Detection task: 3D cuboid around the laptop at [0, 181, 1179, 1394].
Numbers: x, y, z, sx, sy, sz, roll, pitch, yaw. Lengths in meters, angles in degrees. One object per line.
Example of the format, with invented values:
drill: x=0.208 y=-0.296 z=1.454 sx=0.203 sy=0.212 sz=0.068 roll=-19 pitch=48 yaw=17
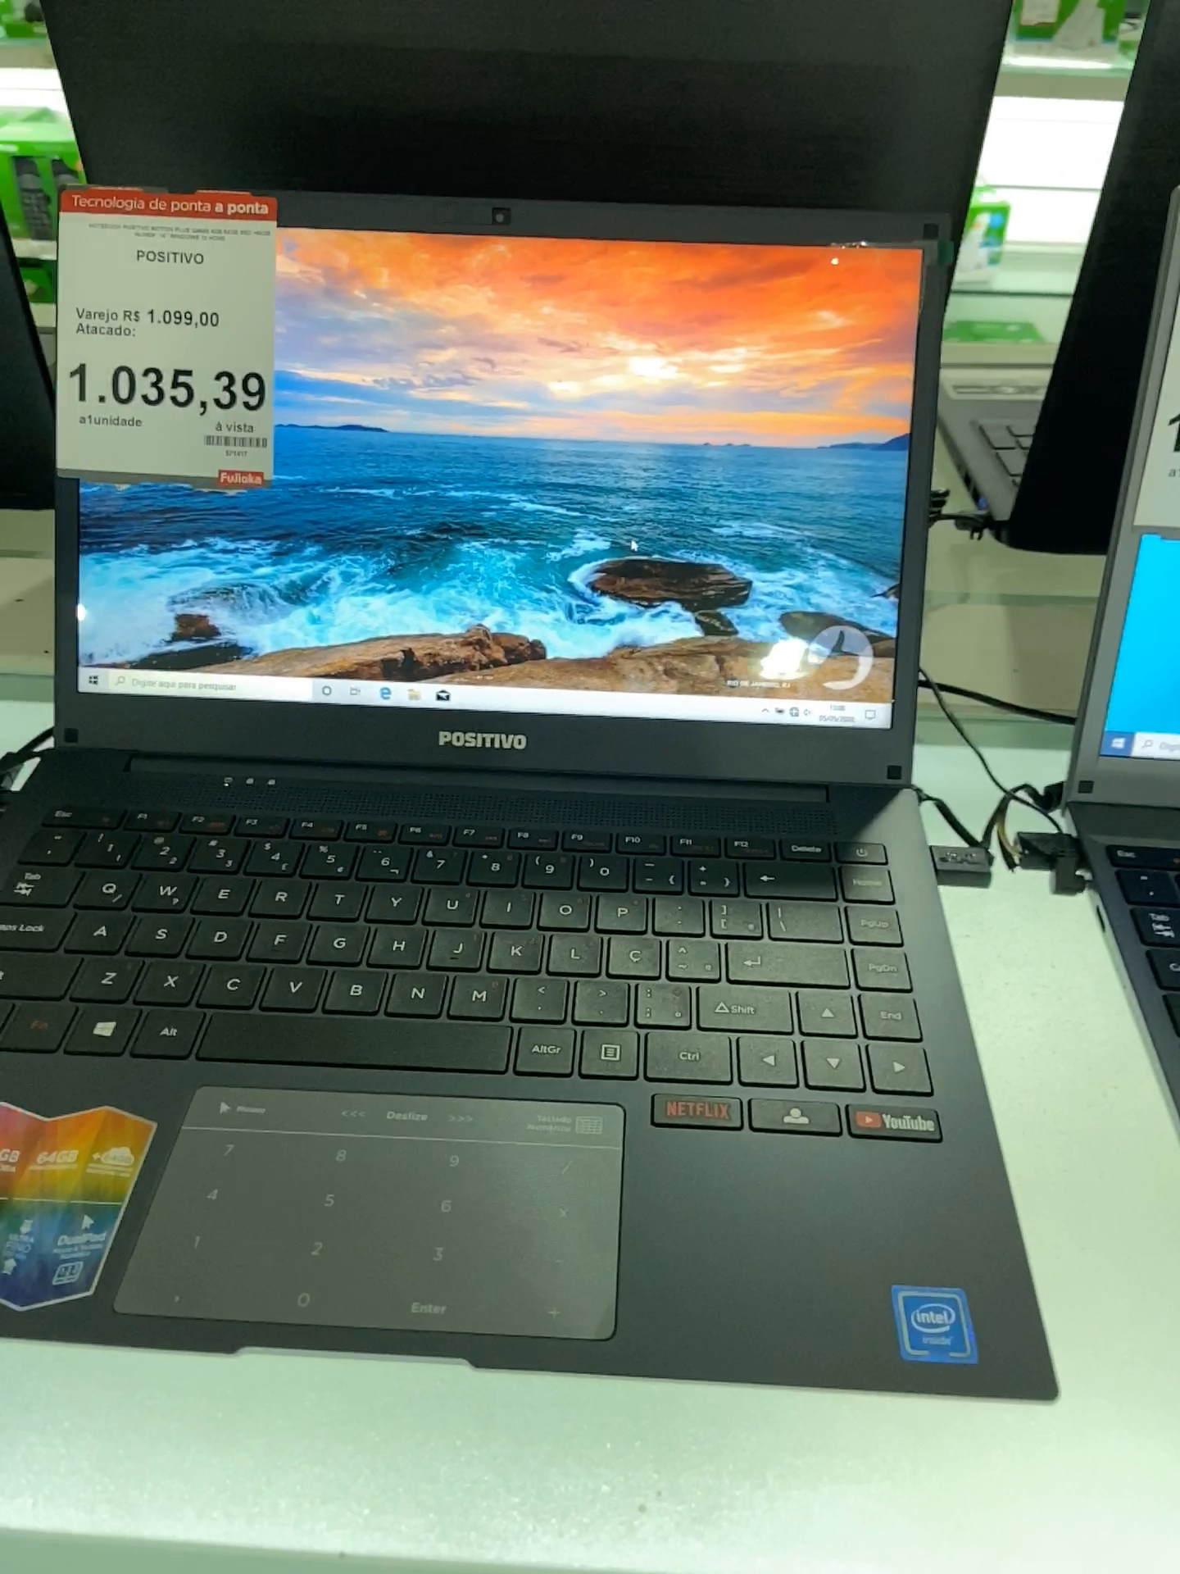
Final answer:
laptop: x=-0.044 y=-0.045 z=0.378 sx=0.334 sy=0.175 sz=0.356 roll=3 pitch=39 yaw=2
